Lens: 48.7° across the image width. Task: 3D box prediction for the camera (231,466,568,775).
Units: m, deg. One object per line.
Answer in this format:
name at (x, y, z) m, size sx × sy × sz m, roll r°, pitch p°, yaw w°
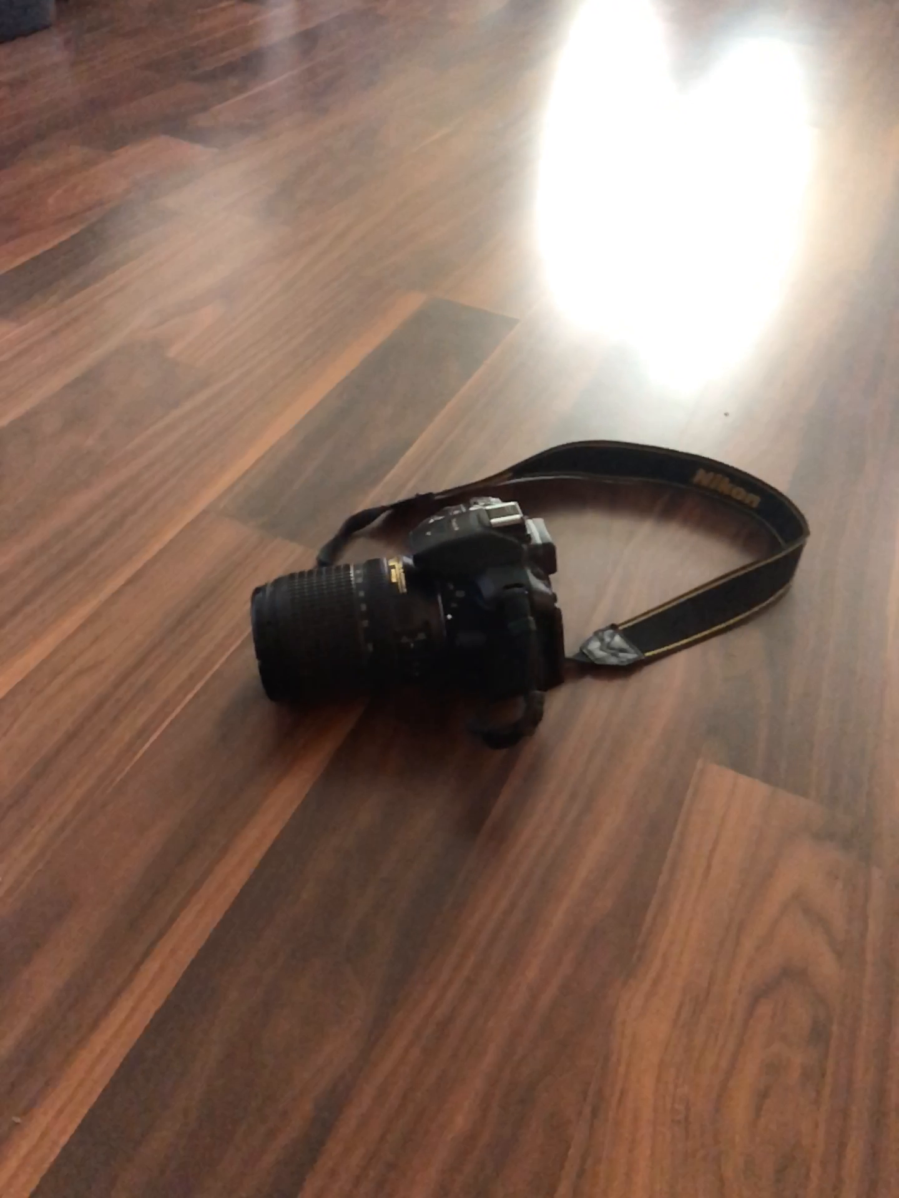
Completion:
camera at (-0.033, 0.012, 0.614) m, size 0.180 × 0.130 × 0.110 m, roll -7°, pitch 44°, yaw -7°
